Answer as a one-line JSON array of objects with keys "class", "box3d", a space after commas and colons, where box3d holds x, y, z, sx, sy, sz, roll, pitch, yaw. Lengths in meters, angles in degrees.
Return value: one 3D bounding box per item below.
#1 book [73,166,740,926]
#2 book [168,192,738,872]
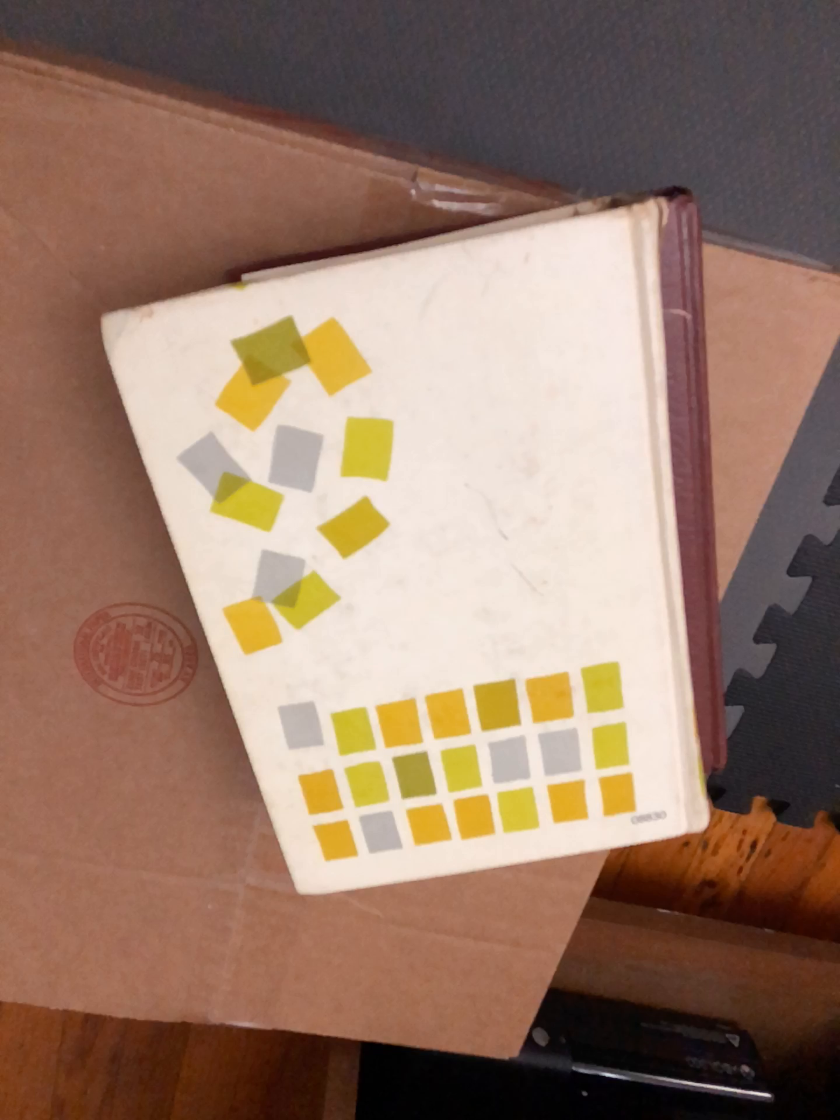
[{"class": "book", "box3d": [0.014, 0.013, 0.332, 0.180, 0.040, 0.250, -11, 117, 2]}, {"class": "book", "box3d": [0.027, 0.004, 0.364, 0.180, 0.040, 0.250, -9, 117, 1]}]
